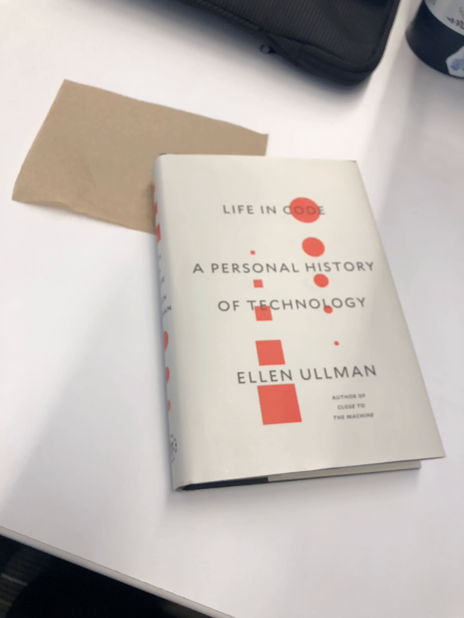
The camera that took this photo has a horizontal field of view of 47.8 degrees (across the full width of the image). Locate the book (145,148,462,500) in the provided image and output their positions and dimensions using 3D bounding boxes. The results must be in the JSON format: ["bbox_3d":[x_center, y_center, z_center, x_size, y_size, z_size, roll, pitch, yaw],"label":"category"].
[{"bbox_3d":[0.031,-0.005,0.329,0.160,0.030,0.220,-1,62,-12],"label":"book"}]
